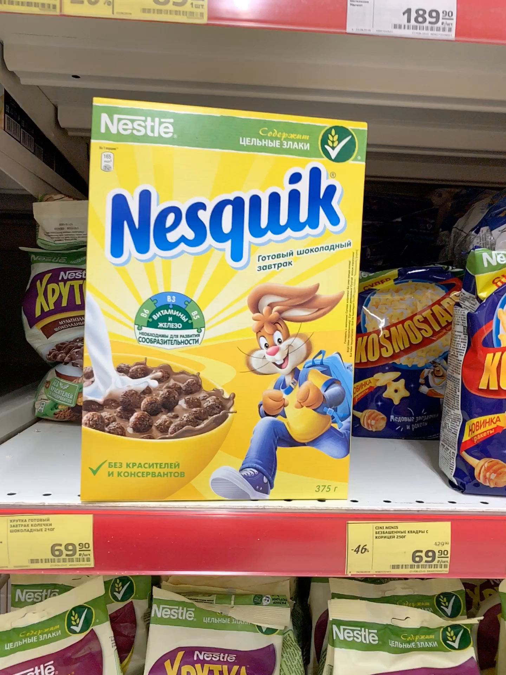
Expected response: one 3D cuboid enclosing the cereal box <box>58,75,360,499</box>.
[{"bbox_3d":[-0.031,-0.029,0.374,0.190,0.270,0.060,2,3,-8],"label":"cereal box"}]
